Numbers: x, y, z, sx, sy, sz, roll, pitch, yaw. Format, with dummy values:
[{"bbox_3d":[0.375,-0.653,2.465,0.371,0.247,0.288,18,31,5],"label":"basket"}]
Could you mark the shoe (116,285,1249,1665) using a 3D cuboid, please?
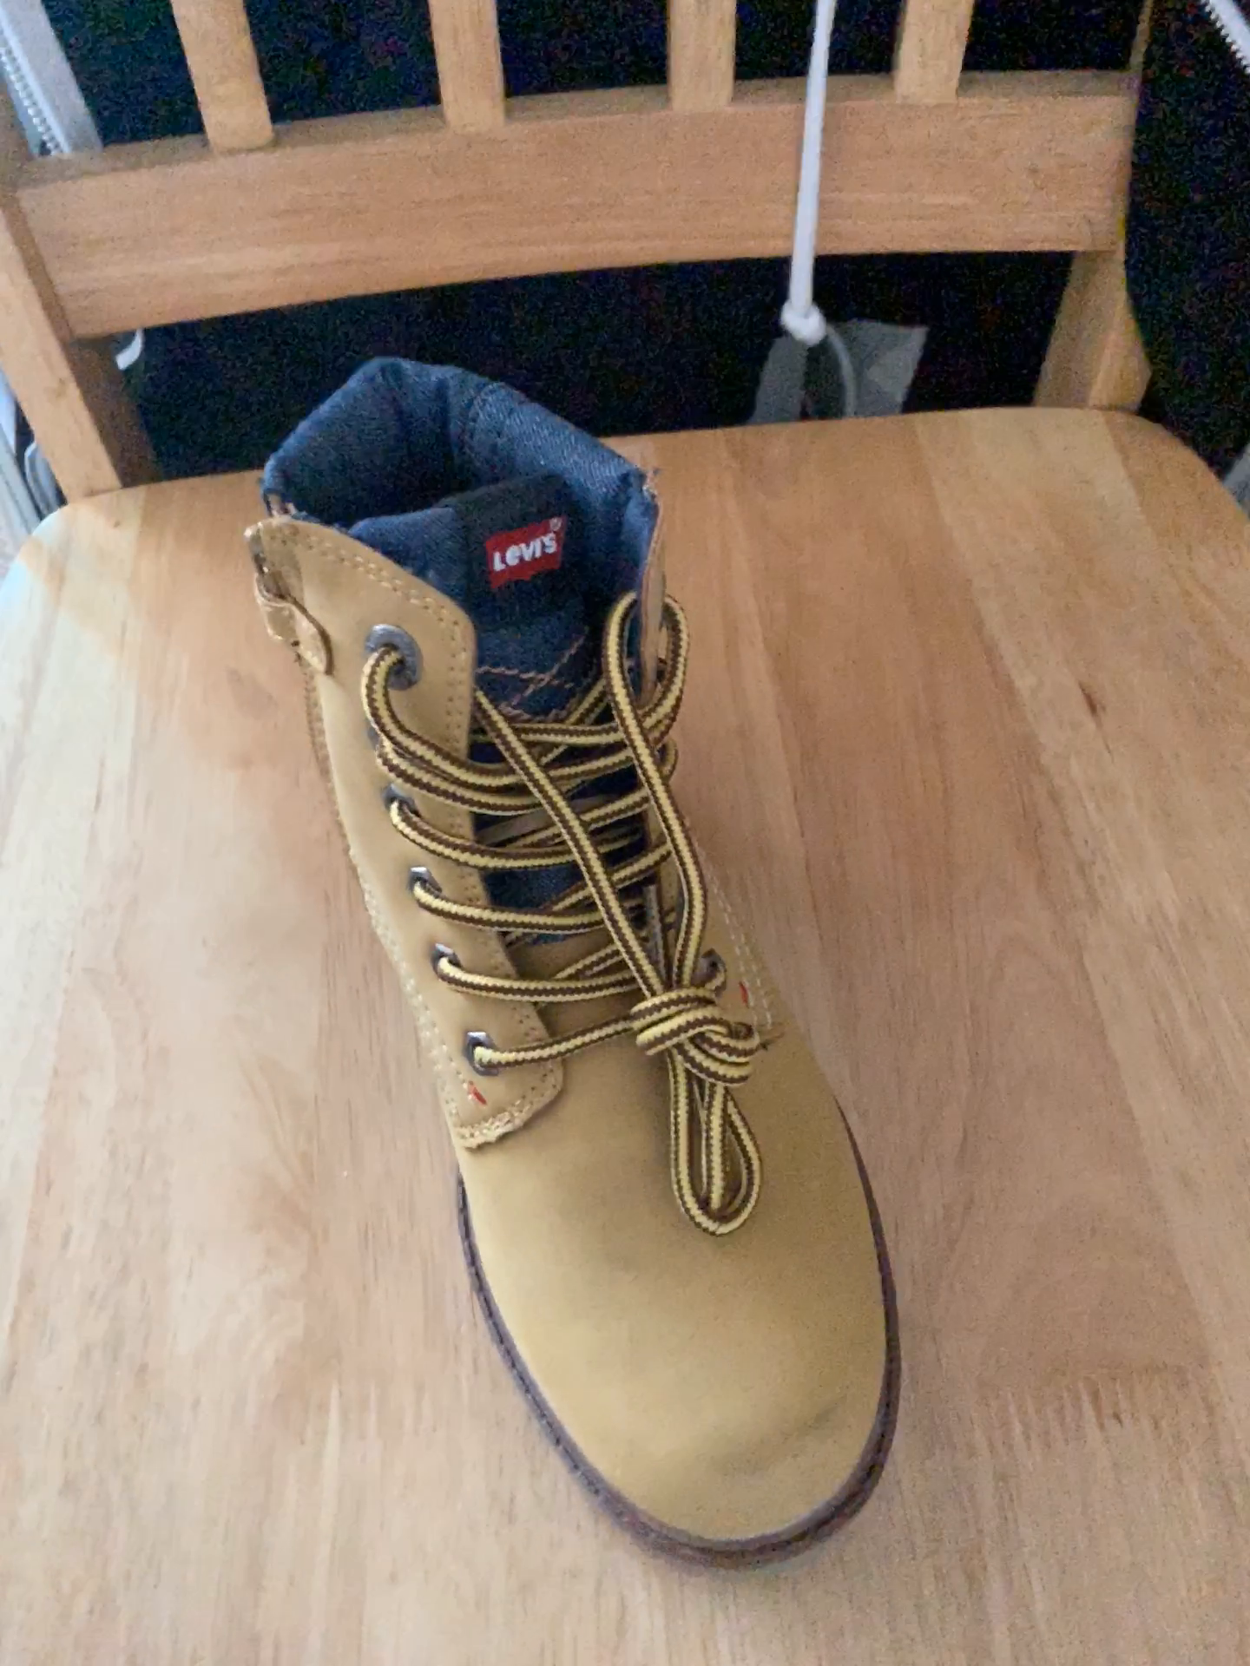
[{"bbox_3d":[-0.009,0.031,0.259,0.100,0.139,0.231,-18,60,-8],"label":"shoe"}]
